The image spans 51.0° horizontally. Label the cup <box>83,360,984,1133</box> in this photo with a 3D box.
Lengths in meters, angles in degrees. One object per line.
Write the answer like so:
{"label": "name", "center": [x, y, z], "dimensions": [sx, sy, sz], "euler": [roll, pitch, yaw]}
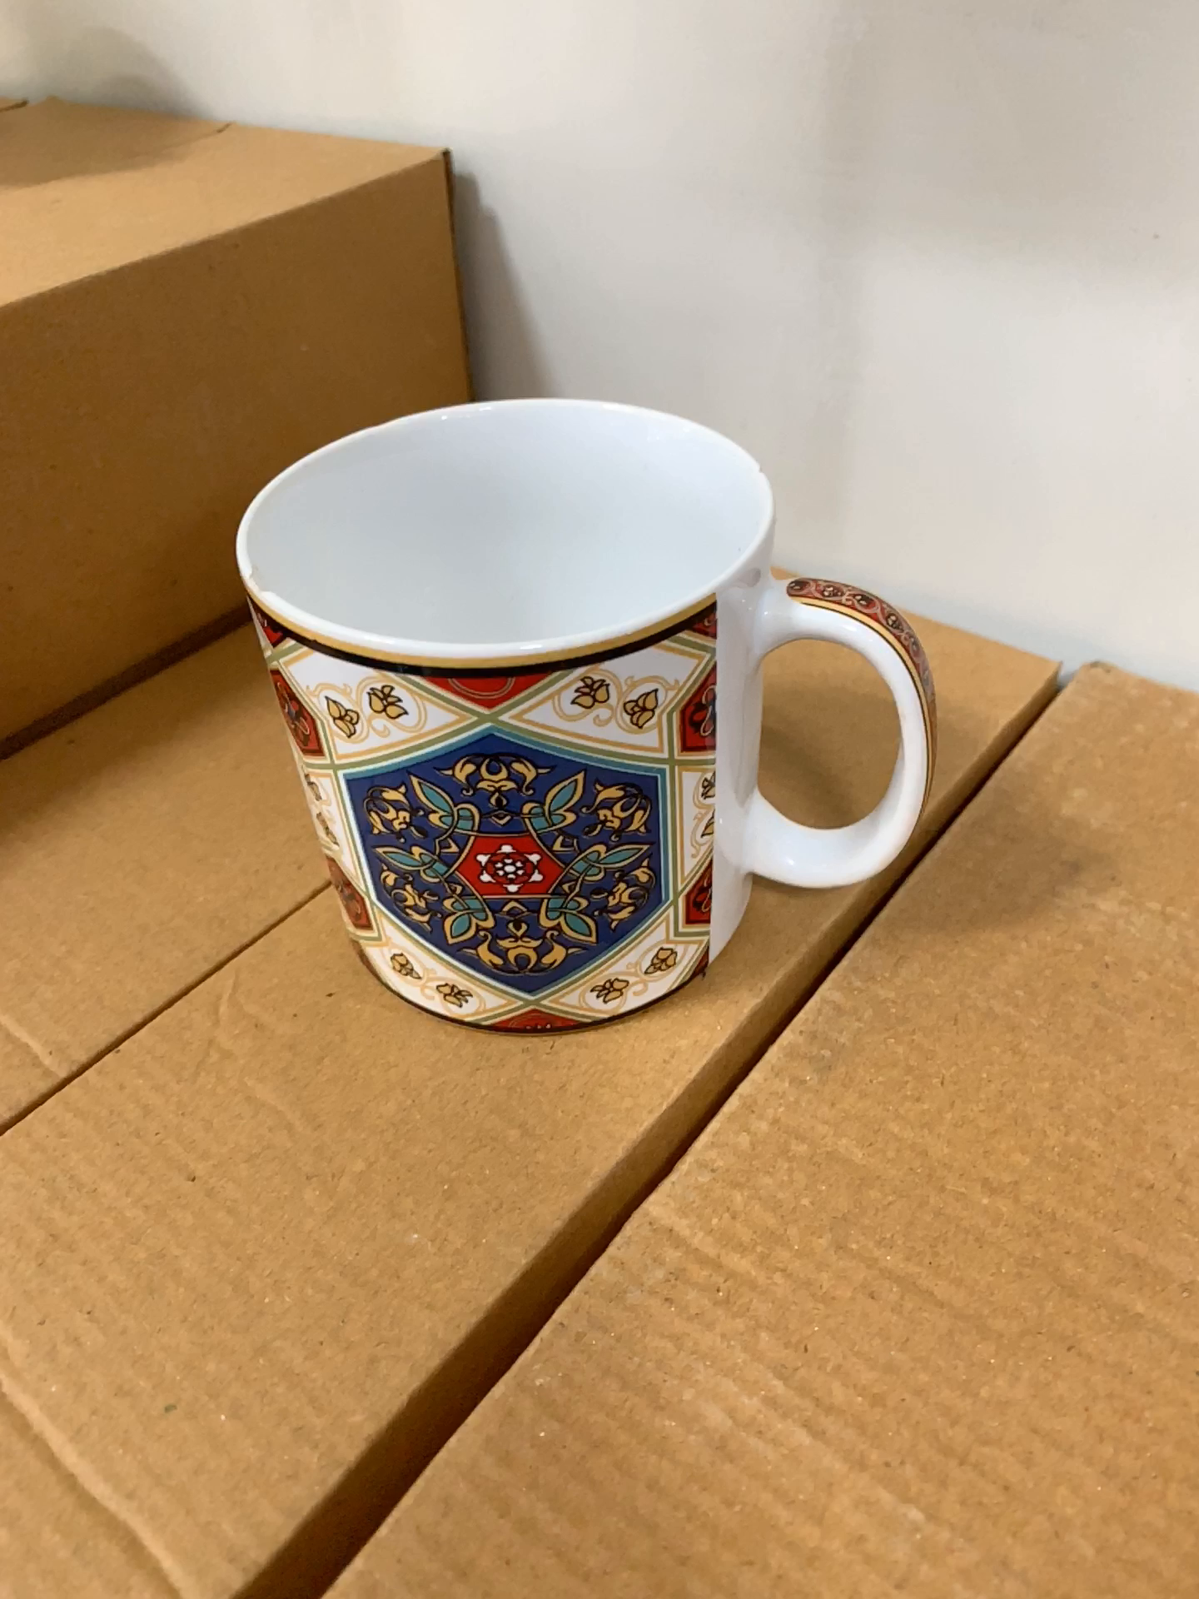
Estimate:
{"label": "cup", "center": [0.000, -0.013, 0.186], "dimensions": [0.100, 0.069, 0.081], "euler": [7, 41, 11]}
